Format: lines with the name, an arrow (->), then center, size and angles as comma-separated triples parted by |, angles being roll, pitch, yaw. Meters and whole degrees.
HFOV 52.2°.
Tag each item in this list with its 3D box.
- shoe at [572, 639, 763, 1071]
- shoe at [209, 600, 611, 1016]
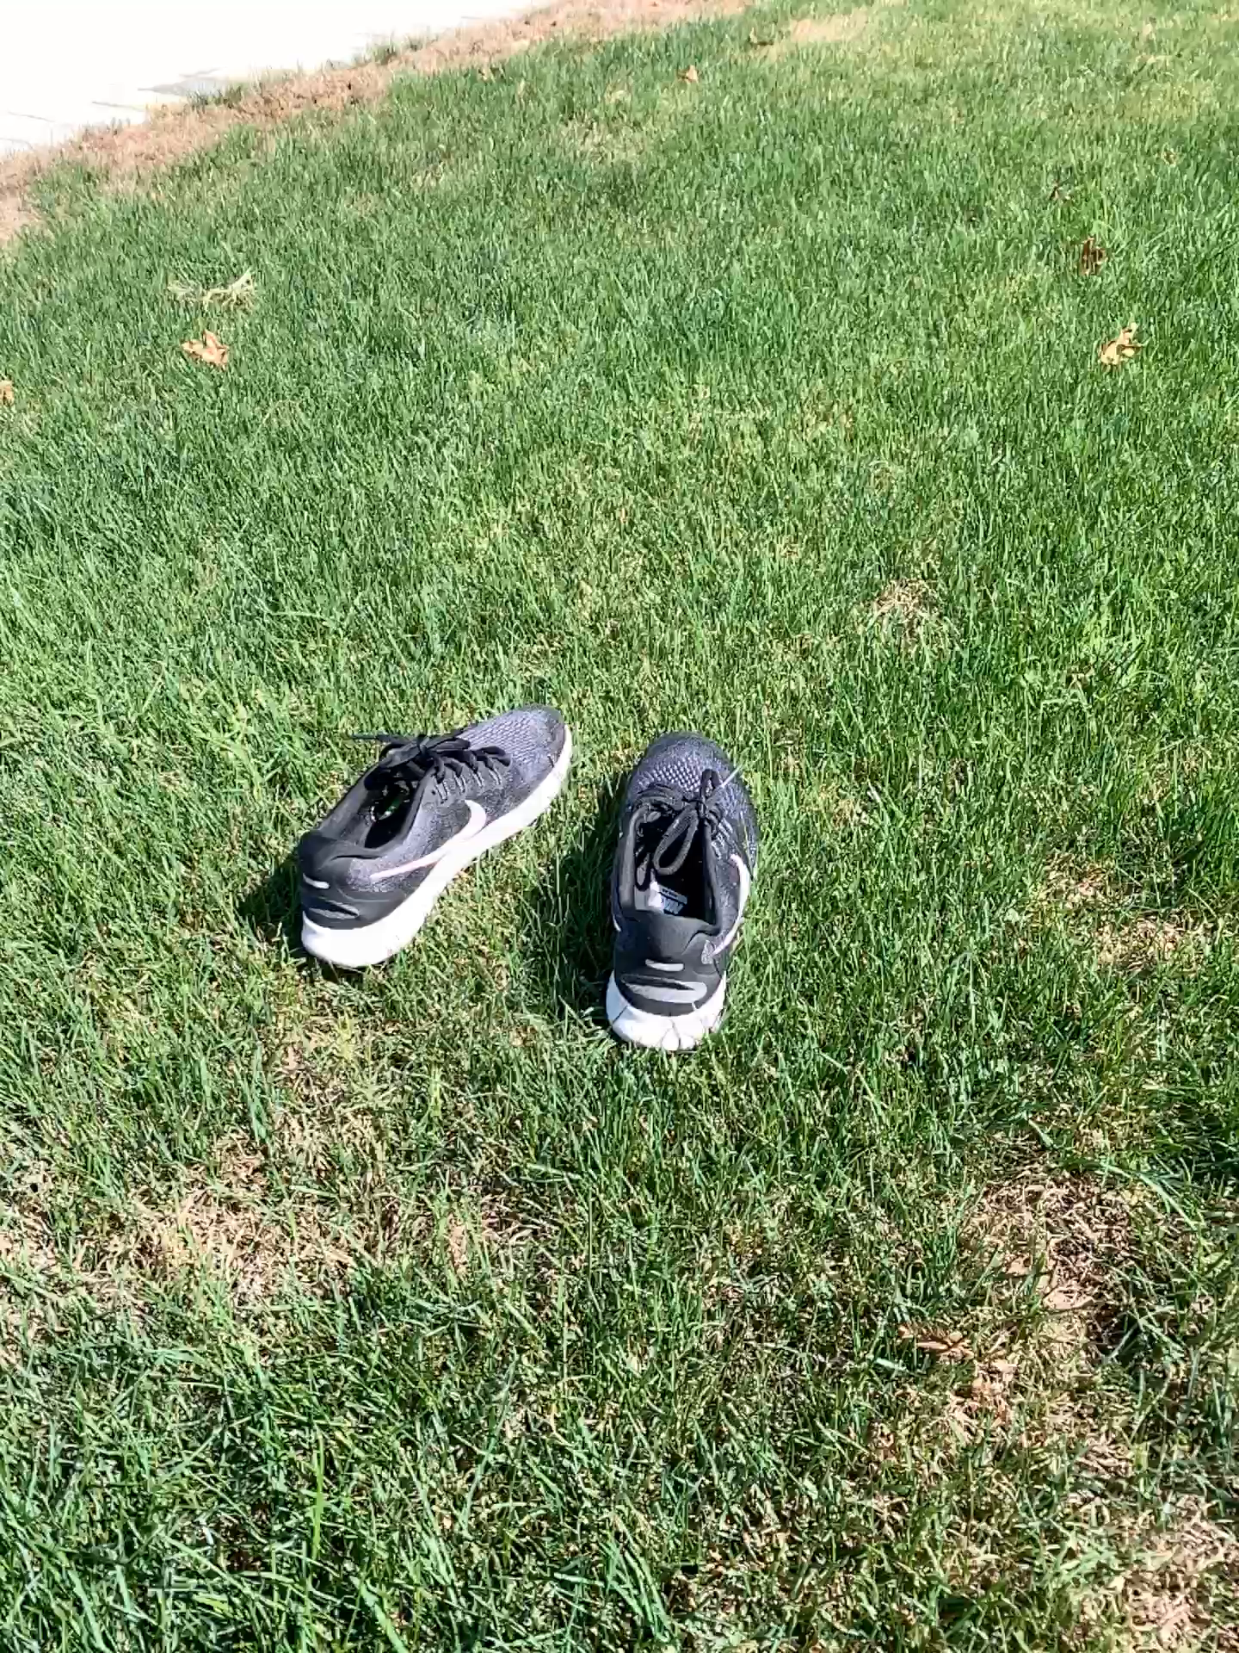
shoe -> 0.040, 0.008, 0.830 | 0.100, 0.129, 0.271 | 2, 42, 6
shoe -> -0.130, -0.023, 0.883 | 0.100, 0.129, 0.280 | 23, 48, 26
